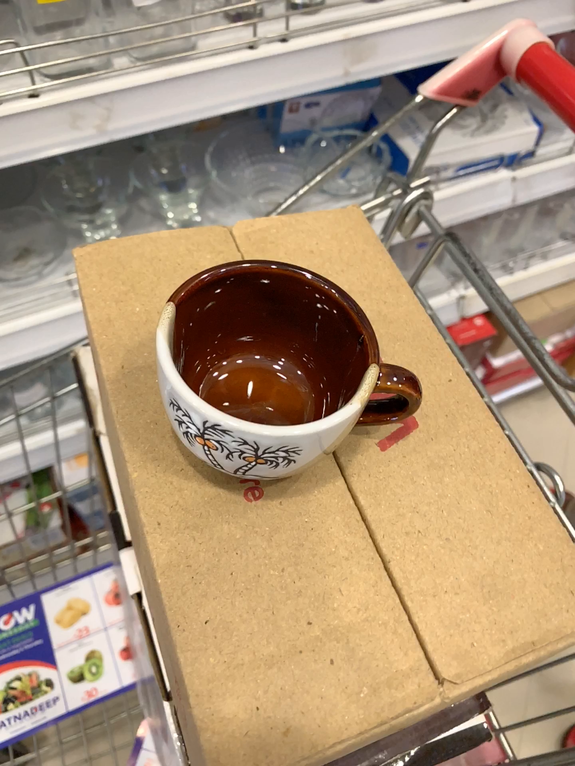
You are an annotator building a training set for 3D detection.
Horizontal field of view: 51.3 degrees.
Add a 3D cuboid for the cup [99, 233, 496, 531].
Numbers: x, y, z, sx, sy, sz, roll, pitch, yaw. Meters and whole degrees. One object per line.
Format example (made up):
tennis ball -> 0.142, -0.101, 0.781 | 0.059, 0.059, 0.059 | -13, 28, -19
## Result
cup -> 0.002, 0.003, 0.190 | 0.100, 0.060, 0.060 | 7, 58, -5
